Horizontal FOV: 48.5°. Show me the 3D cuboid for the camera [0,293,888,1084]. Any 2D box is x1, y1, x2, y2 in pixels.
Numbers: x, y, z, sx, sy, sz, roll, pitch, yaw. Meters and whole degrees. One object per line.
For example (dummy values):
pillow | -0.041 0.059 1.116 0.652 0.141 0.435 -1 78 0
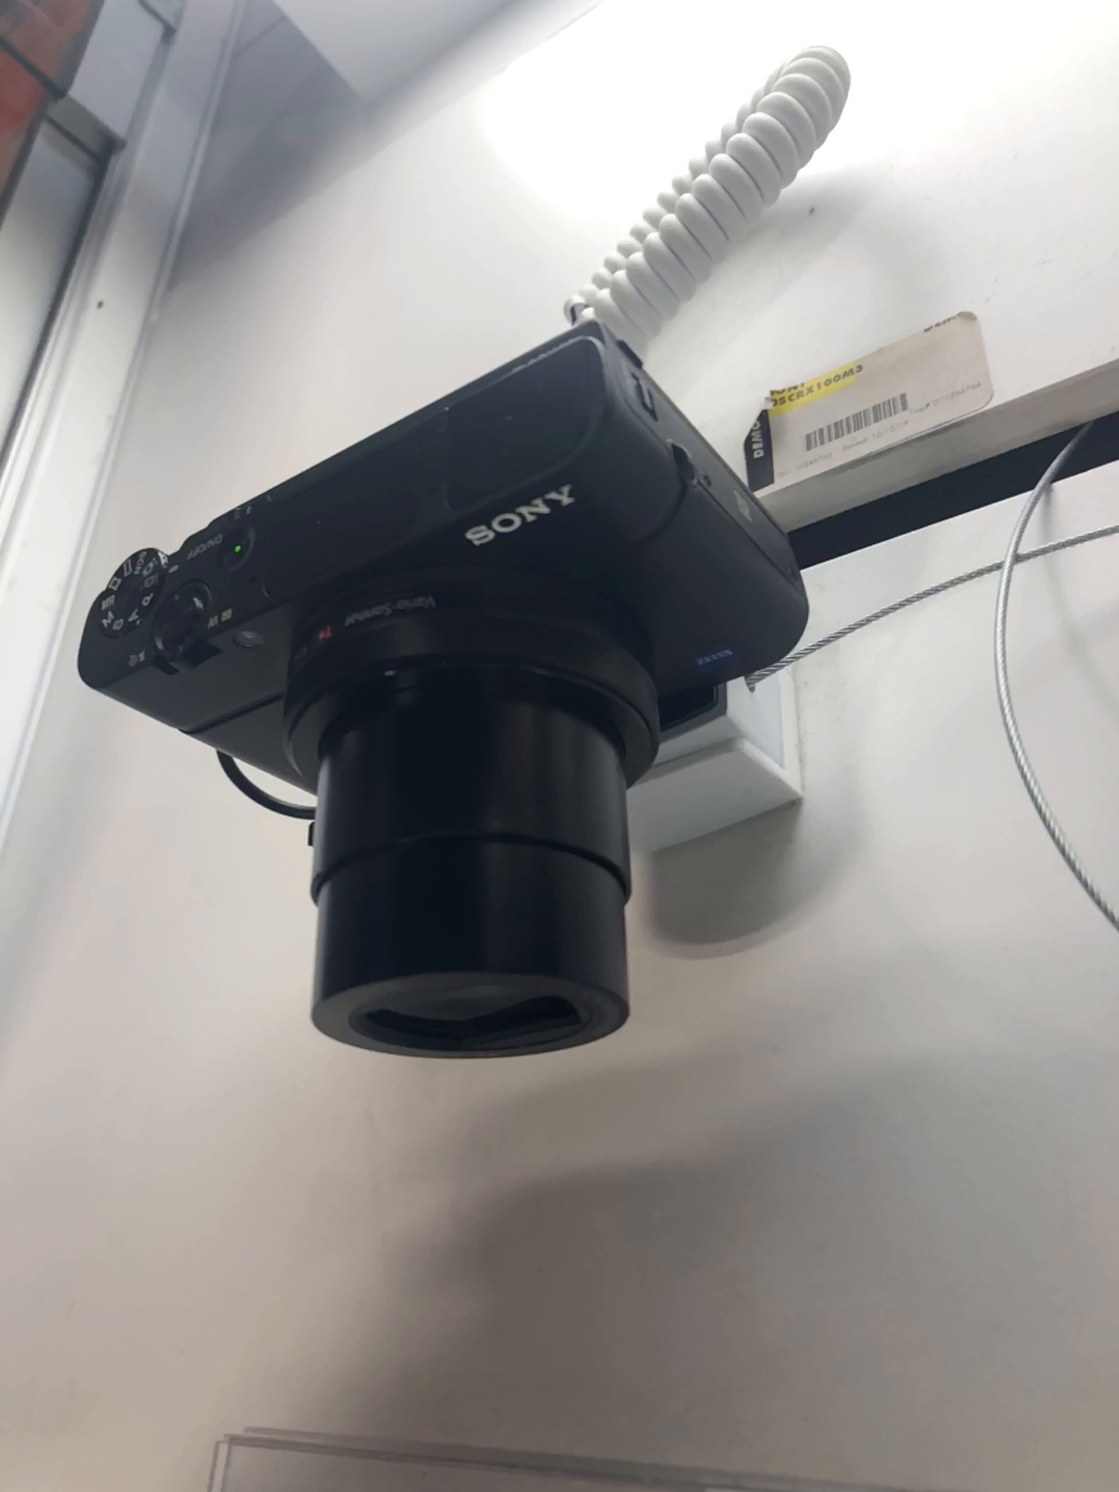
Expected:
camera | -0.017 0.003 0.189 0.105 0.074 0.070 -17 55 33
